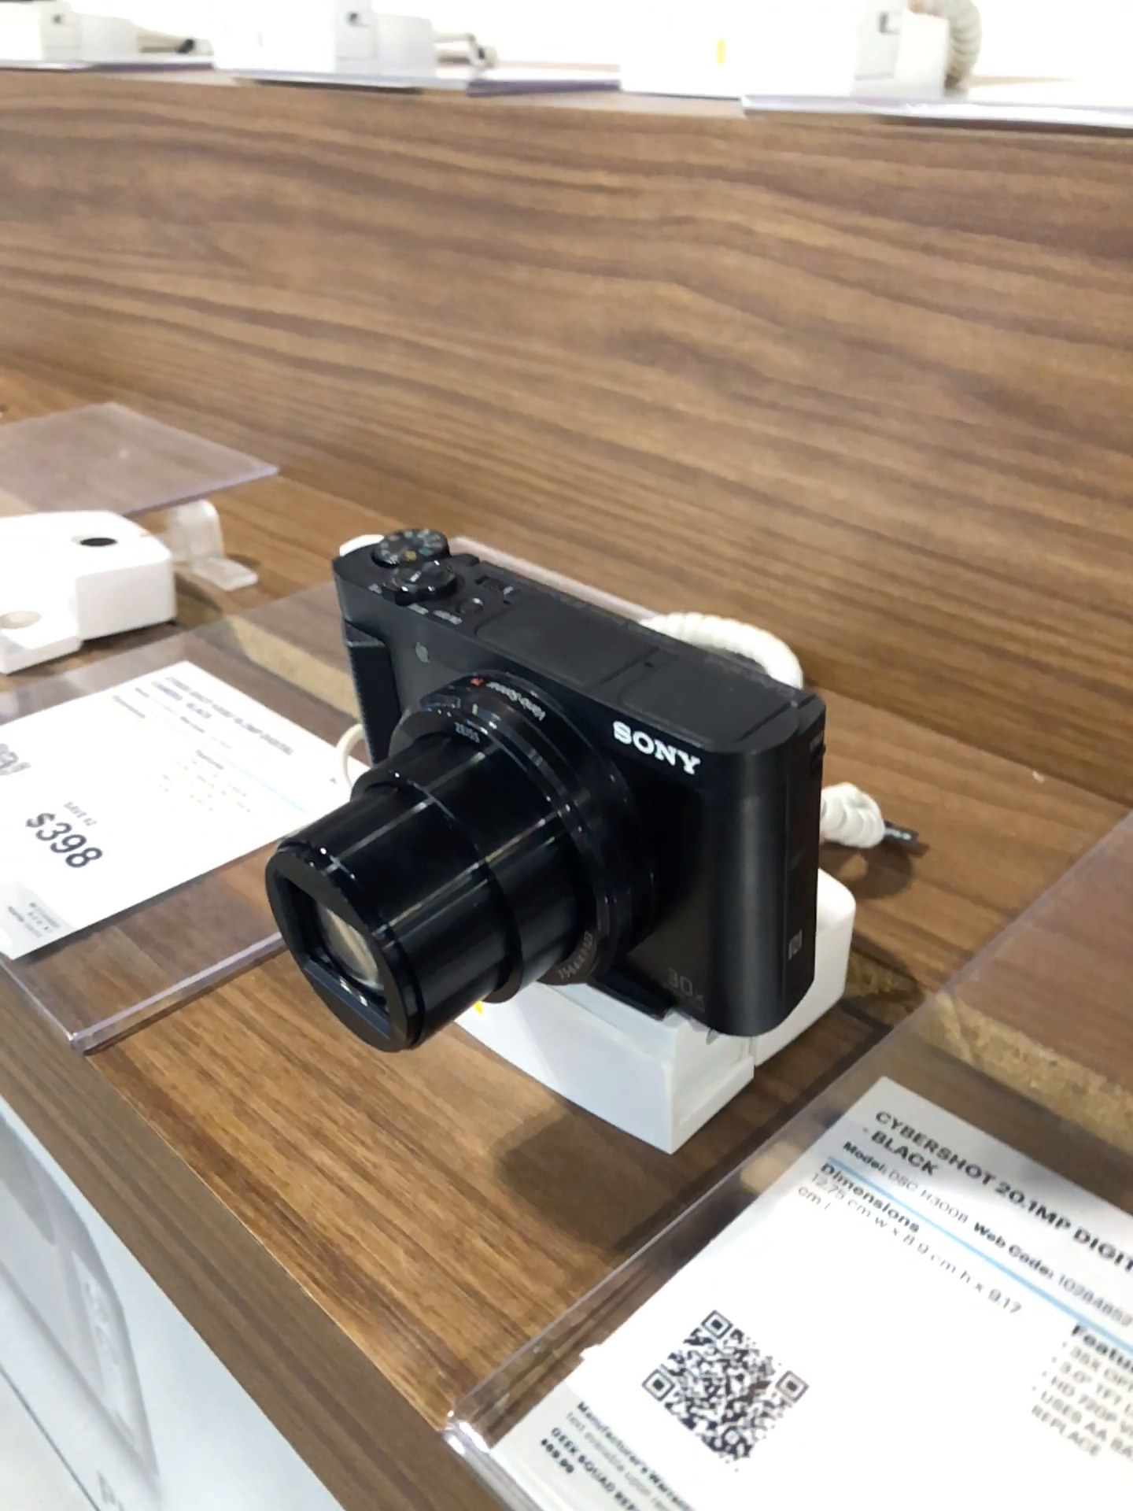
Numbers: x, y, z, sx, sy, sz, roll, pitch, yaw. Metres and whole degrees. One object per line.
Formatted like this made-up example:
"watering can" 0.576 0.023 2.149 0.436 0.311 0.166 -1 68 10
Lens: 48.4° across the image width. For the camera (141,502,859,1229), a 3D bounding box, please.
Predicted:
"camera" -0.014 0.009 0.212 0.060 0.070 0.100 -24 37 -38
